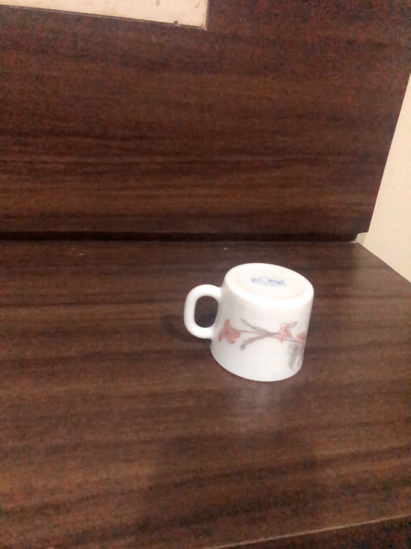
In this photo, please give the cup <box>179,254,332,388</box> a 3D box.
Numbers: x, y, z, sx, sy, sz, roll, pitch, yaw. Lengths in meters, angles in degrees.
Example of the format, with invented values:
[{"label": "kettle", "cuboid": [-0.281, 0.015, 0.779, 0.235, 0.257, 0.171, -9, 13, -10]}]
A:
[{"label": "cup", "cuboid": [0.029, 0.032, 0.324, 0.090, 0.070, 0.060, 3, 29, -7]}]
